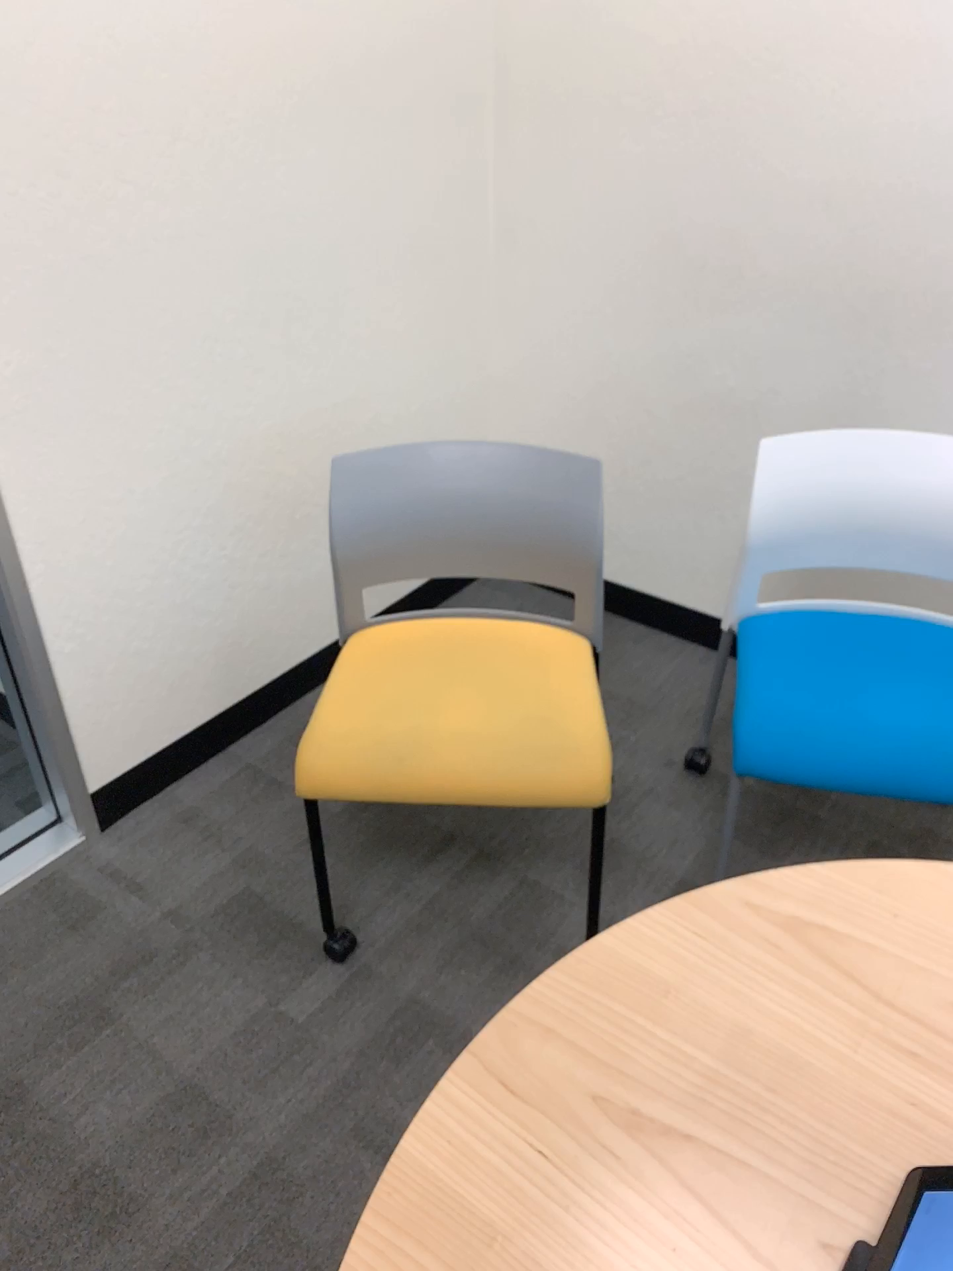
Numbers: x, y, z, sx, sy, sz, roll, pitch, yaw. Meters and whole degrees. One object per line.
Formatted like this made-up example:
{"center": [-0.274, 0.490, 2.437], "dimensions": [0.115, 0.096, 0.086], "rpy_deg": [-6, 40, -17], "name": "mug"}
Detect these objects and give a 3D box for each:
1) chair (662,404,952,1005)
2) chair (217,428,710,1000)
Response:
{"center": [0.718, 0.084, 1.789], "dimensions": [0.640, 0.755, 0.694], "rpy_deg": [6, 34, 11], "name": "chair"}
{"center": [0.009, 0.105, 1.749], "dimensions": [0.640, 0.716, 0.694], "rpy_deg": [2, 33, 4], "name": "chair"}
